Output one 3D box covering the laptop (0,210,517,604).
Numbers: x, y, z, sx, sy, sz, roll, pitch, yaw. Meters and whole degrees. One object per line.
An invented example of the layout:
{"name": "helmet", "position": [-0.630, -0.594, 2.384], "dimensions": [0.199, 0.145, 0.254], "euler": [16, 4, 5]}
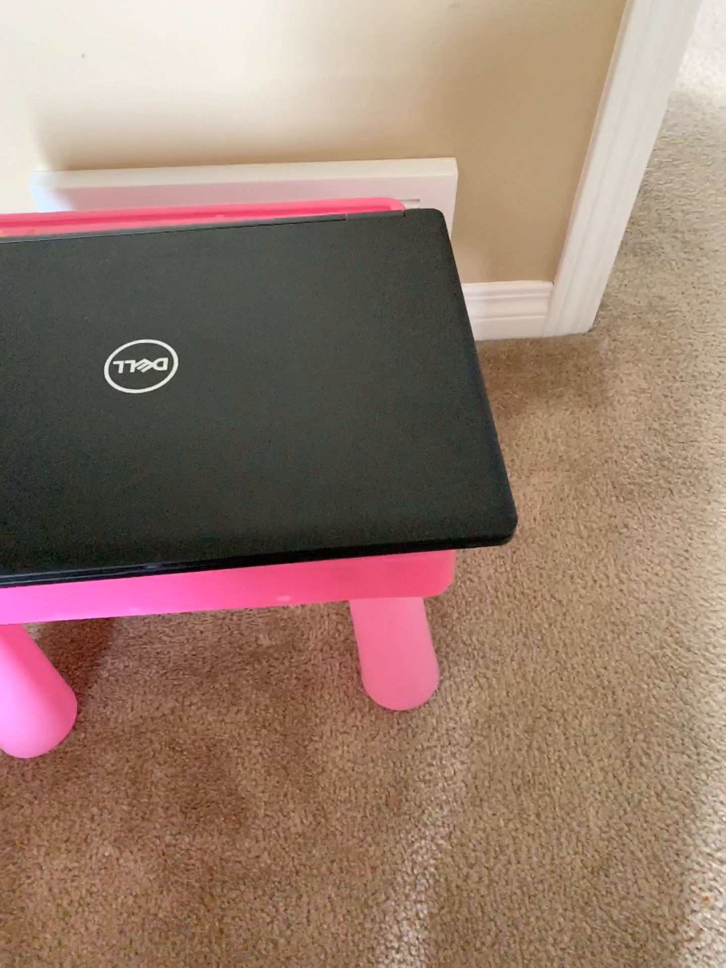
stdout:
{"name": "laptop", "position": [-0.122, -0.062, 0.407], "dimensions": [0.366, 0.005, 0.241], "euler": [-5, 56, -2]}
